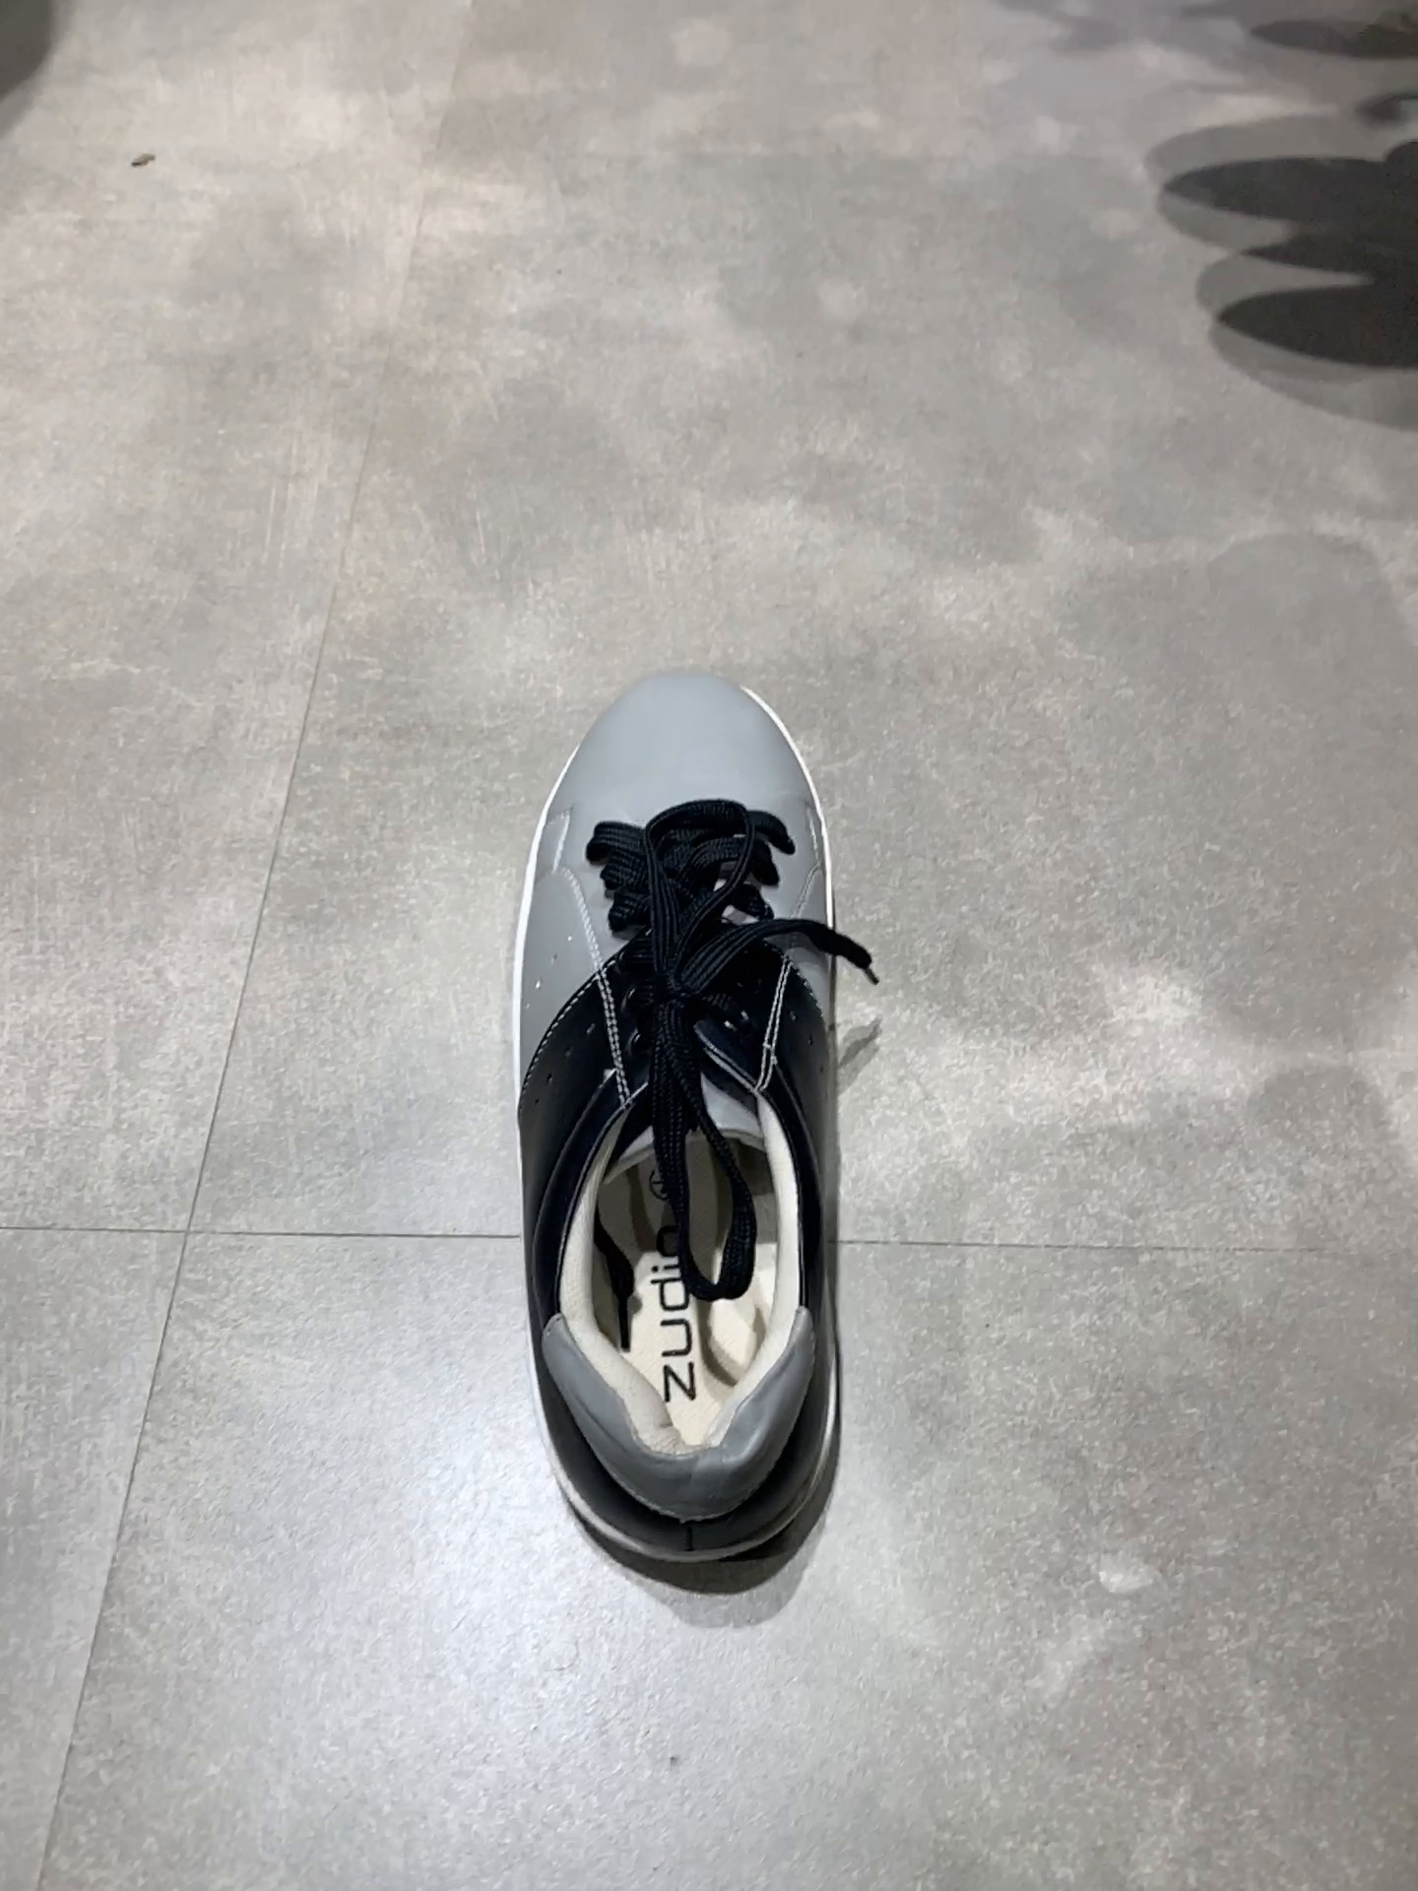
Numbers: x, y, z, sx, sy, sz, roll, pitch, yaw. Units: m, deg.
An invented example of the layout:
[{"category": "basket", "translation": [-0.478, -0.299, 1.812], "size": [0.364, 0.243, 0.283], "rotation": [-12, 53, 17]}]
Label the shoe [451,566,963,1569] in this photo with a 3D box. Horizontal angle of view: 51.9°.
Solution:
[{"category": "shoe", "translation": [-0.001, 0.021, 0.401], "size": [0.101, 0.093, 0.263], "rotation": [0, 55, 0]}]
